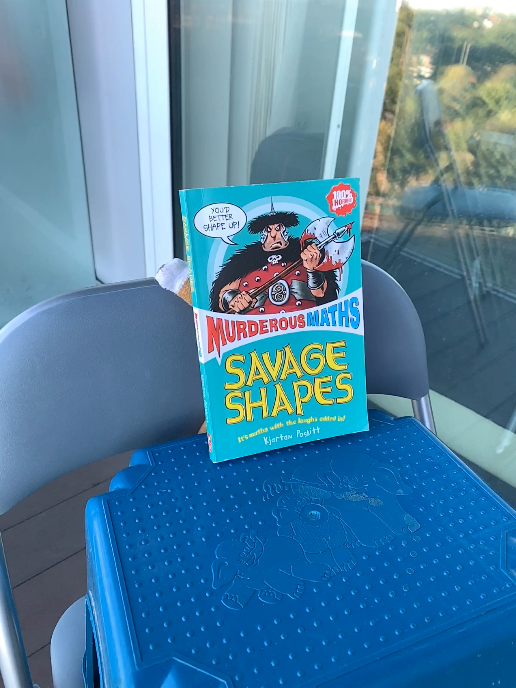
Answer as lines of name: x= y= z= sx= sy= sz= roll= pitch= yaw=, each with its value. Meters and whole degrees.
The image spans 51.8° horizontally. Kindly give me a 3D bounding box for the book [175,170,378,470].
book: x=0.019 y=-0.020 z=0.379 sx=0.134 sy=0.193 sz=0.029 roll=-9 pitch=14 yaw=-20
